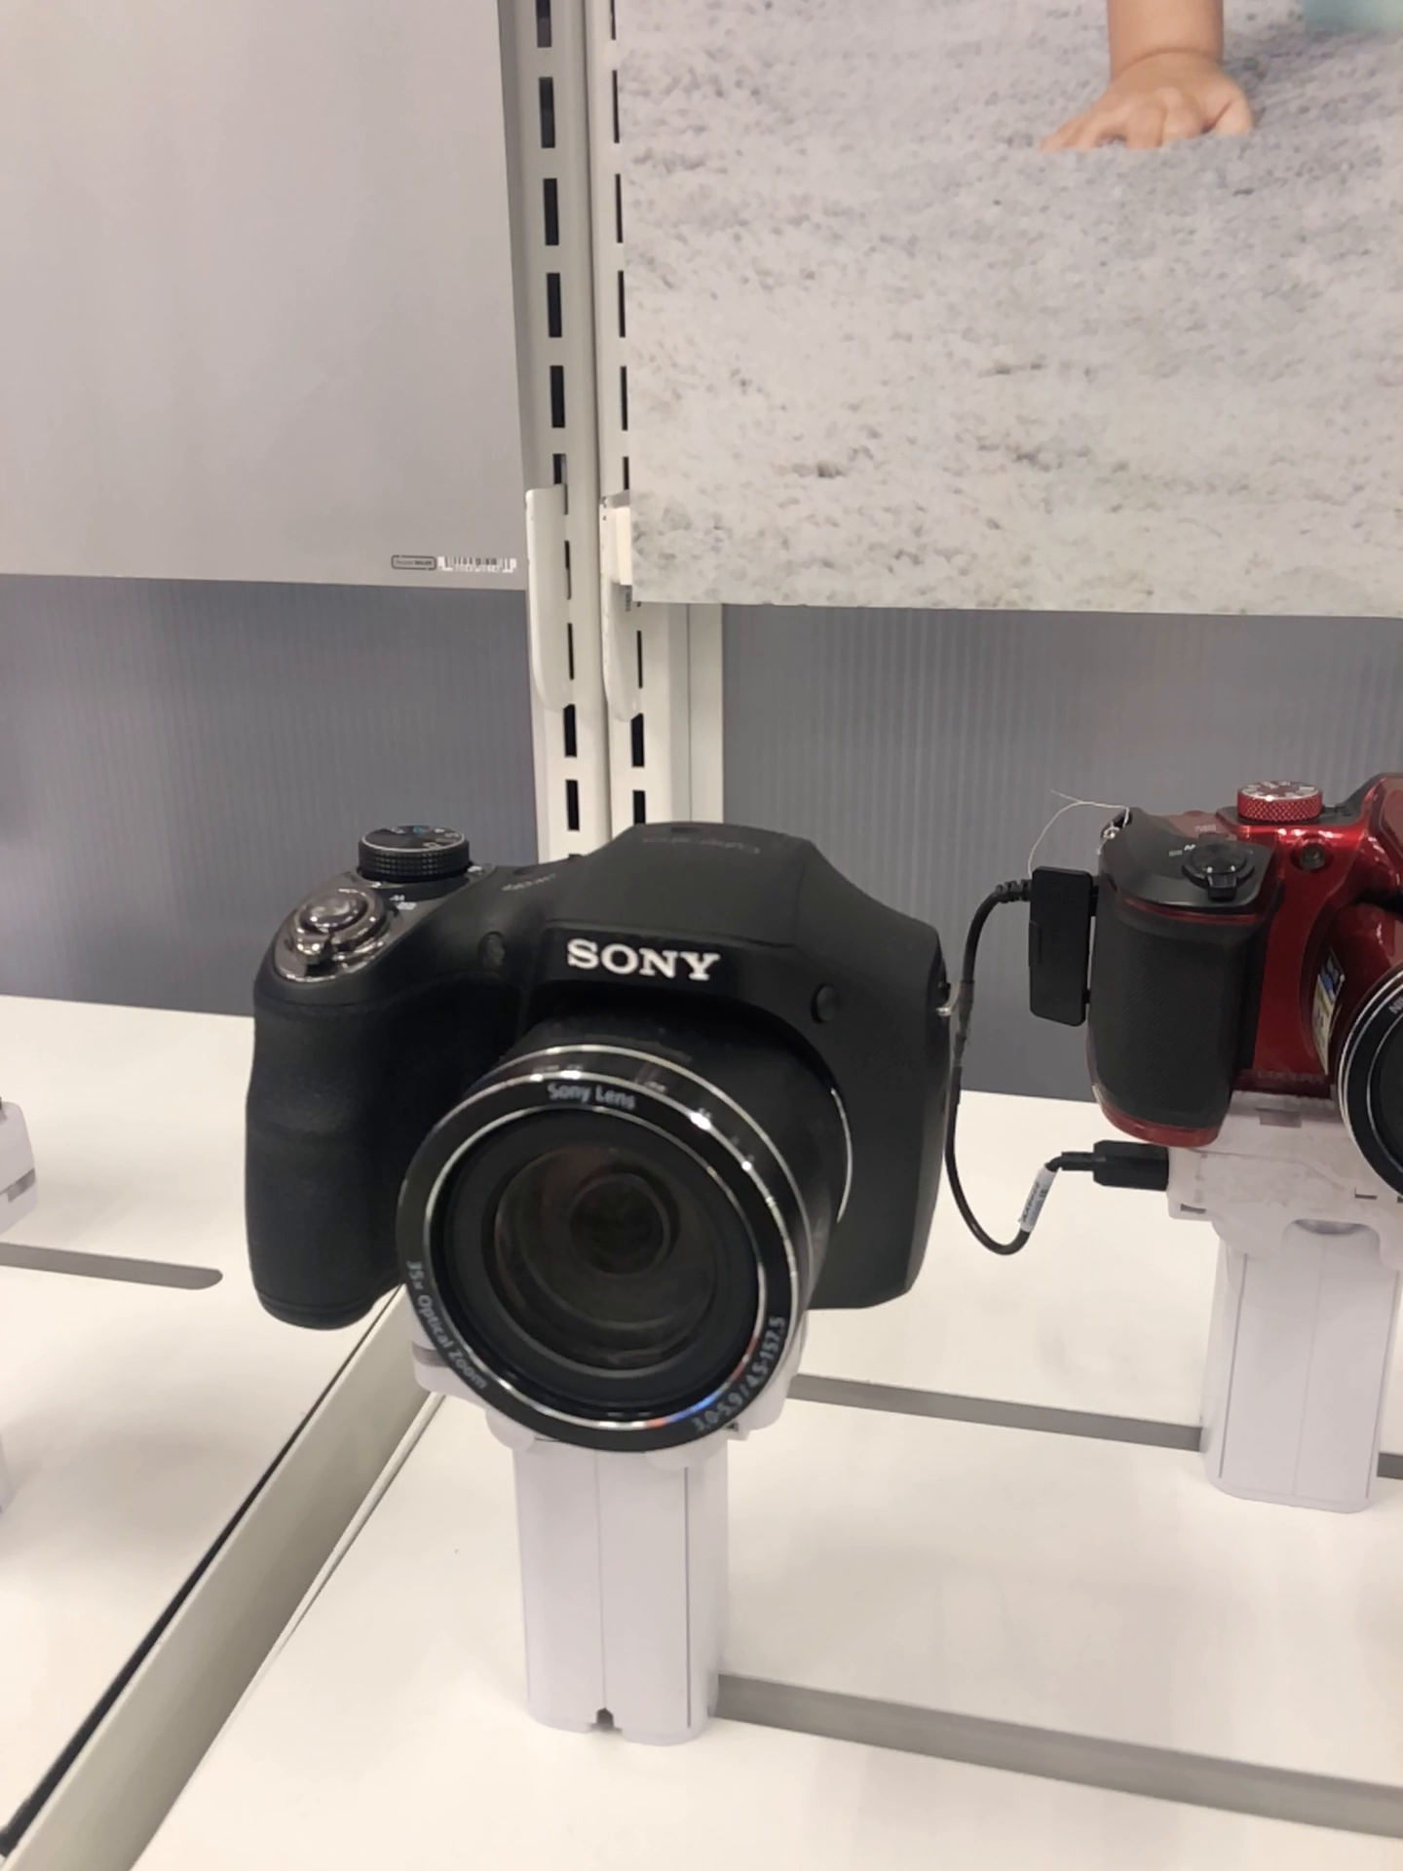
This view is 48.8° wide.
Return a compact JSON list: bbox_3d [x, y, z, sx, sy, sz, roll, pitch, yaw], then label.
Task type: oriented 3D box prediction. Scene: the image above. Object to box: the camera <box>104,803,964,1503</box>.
[{"bbox_3d":[-0.019,0.029,0.265,0.119,0.076,0.087,4,21,11],"label":"camera"}]
